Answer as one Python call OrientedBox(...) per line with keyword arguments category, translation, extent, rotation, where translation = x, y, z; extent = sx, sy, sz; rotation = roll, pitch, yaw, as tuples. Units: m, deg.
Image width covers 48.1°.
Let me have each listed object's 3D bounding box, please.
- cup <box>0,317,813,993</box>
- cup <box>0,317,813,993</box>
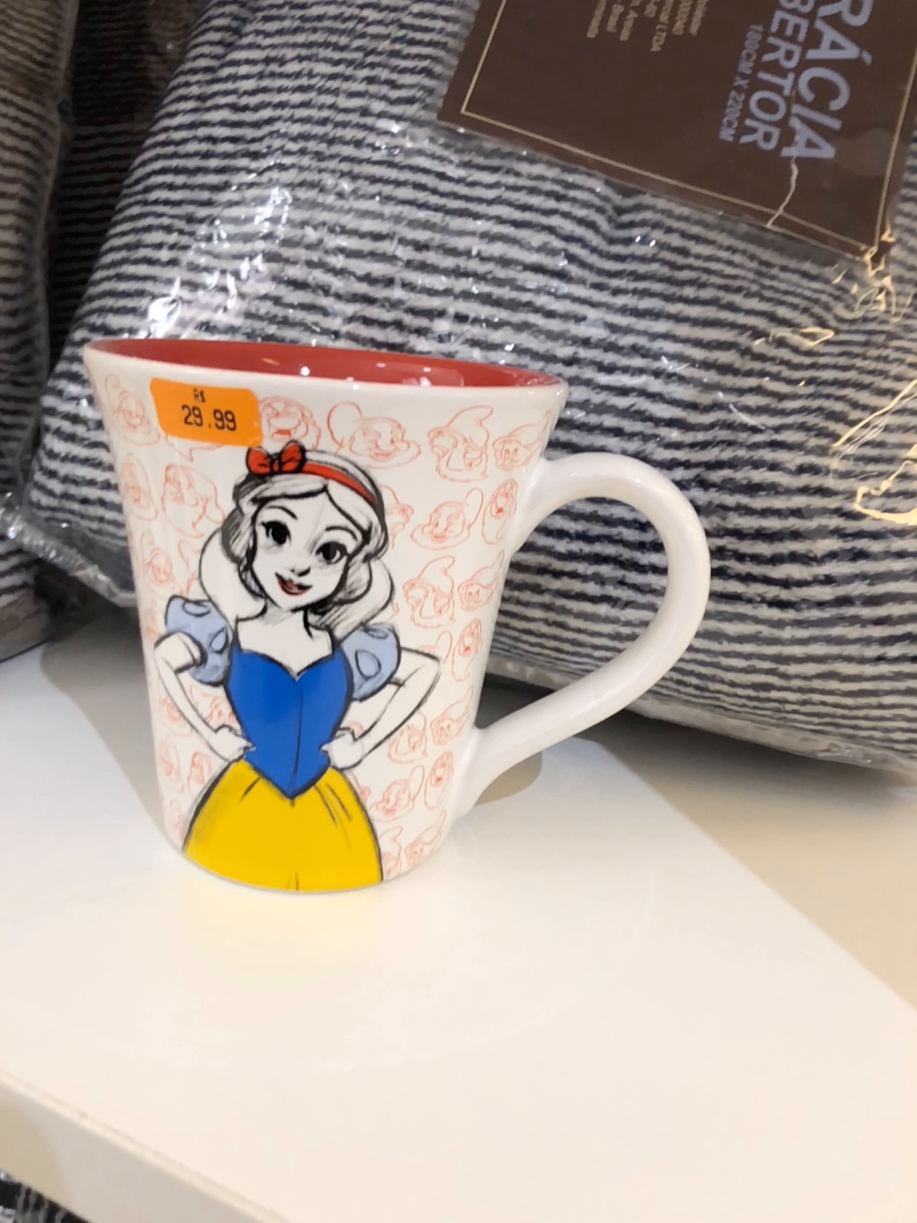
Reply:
OrientedBox(category="cup", translation=(-0.009, -0.004, 0.196), extent=(0.120, 0.090, 0.091), rotation=(7, 17, 8))
OrientedBox(category="cup", translation=(-0.009, -0.004, 0.196), extent=(0.120, 0.090, 0.091), rotation=(7, 17, 8))
